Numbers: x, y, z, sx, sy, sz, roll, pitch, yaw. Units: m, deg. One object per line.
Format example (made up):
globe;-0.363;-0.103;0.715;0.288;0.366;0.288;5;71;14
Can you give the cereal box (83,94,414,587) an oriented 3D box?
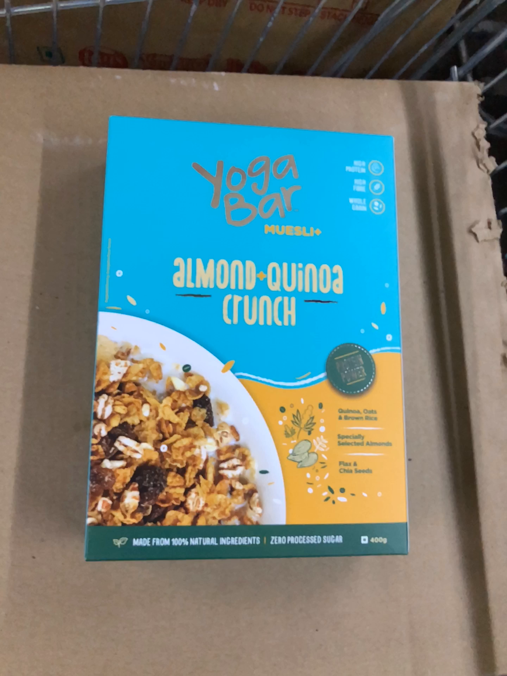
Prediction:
cereal box;-0.005;0.000;0.321;0.160;0.070;0.240;1;81;-10
